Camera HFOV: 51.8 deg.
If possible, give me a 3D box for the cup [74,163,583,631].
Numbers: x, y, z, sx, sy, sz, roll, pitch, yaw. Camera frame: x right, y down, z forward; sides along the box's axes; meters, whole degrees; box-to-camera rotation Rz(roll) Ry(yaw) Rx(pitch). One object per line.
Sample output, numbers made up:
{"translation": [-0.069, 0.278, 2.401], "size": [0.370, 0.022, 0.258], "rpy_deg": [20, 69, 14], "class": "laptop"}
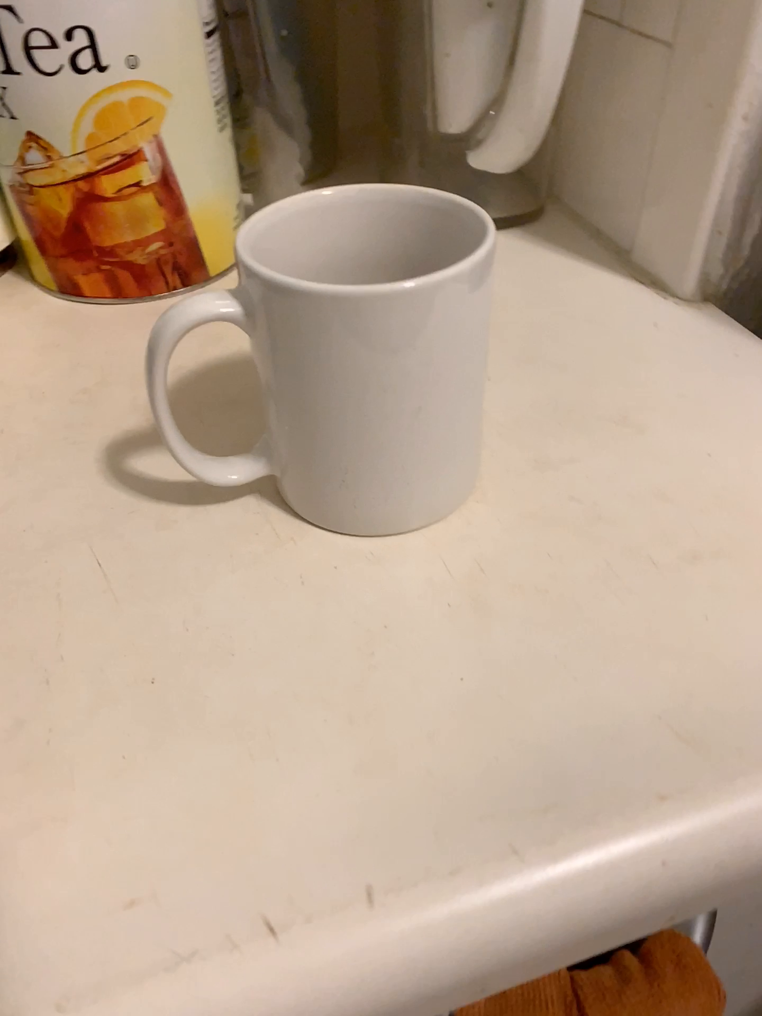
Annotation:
{"translation": [-0.019, -0.046, 0.288], "size": [0.140, 0.109, 0.091], "rpy_deg": [-18, 44, -18], "class": "cup"}
